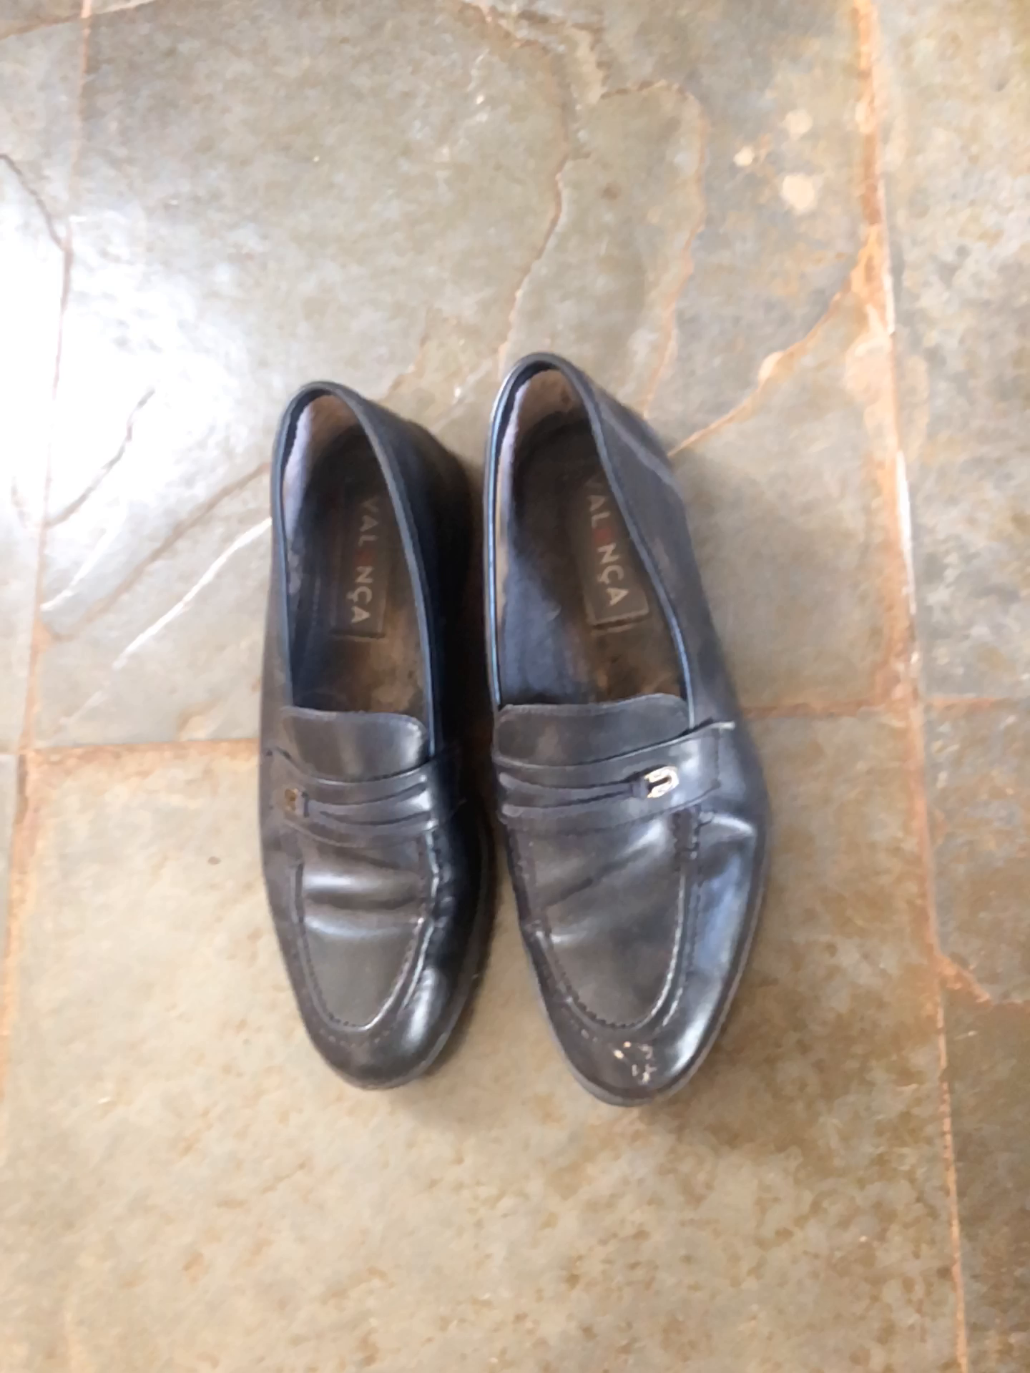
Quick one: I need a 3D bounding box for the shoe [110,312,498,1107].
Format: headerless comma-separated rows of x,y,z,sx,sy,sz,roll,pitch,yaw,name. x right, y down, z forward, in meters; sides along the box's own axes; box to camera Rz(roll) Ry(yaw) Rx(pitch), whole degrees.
-0.069,0.010,0.429,0.100,0.100,0.260,-3,78,16,shoe

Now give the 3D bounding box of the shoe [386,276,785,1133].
0.026,0.009,0.402,0.100,0.100,0.260,-7,77,15,shoe
